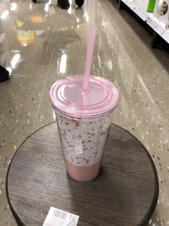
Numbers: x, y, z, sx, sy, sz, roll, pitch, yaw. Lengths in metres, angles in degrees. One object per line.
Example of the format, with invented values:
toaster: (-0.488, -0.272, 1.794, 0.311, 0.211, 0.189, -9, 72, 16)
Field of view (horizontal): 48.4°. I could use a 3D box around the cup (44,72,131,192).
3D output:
cup: (-0.003, 0.031, 0.292, 0.090, 0.149, 0.090, 1, 39, -1)
